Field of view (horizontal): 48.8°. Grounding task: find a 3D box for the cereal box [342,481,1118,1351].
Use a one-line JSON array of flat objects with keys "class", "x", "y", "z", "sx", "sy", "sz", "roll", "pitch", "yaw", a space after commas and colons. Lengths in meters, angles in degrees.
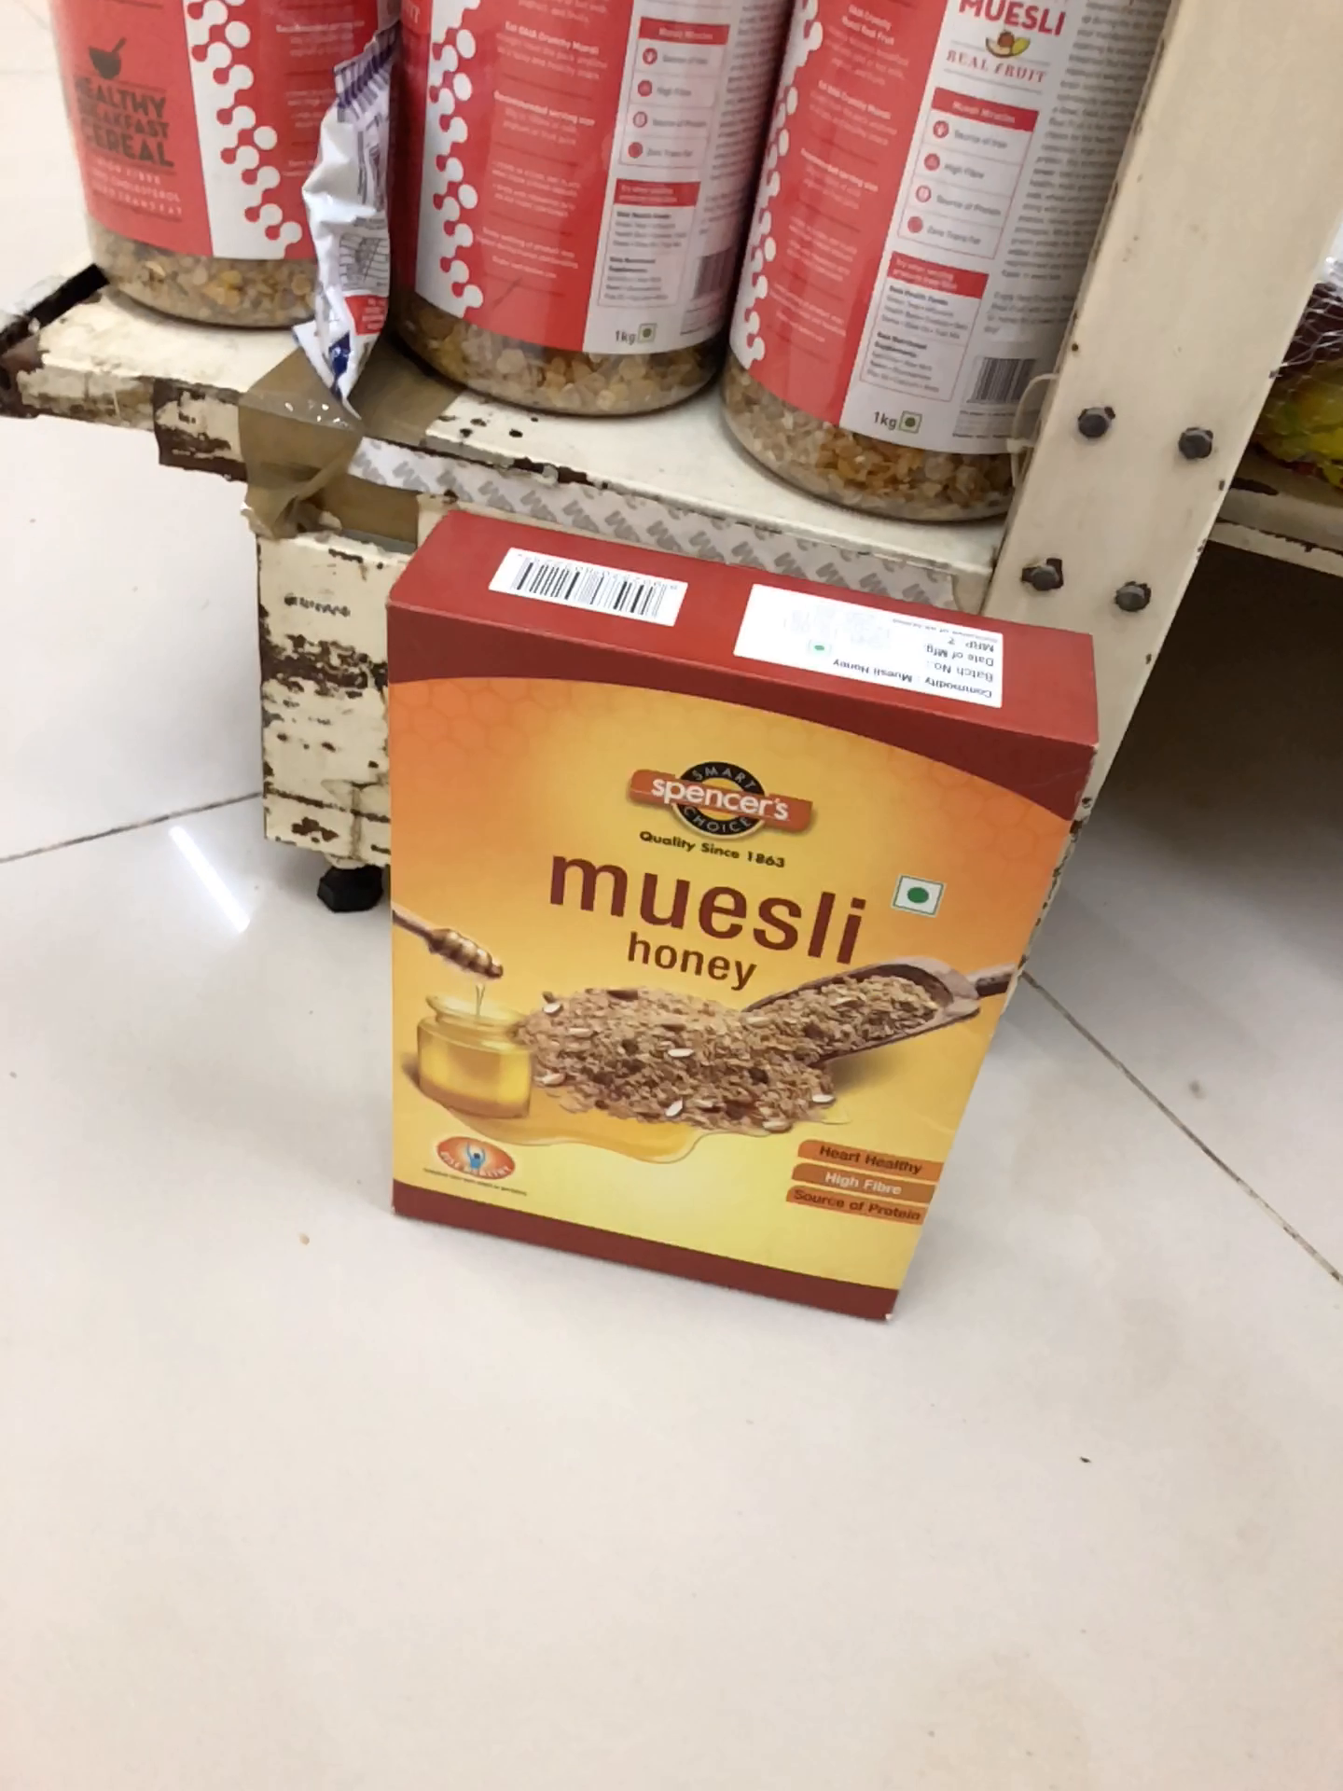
[{"class": "cereal box", "x": 0.005, "y": 0.022, "z": 0.461, "sx": 0.190, "sy": 0.258, "sz": 0.060, "roll": 12, "pitch": 41, "yaw": 5}]
